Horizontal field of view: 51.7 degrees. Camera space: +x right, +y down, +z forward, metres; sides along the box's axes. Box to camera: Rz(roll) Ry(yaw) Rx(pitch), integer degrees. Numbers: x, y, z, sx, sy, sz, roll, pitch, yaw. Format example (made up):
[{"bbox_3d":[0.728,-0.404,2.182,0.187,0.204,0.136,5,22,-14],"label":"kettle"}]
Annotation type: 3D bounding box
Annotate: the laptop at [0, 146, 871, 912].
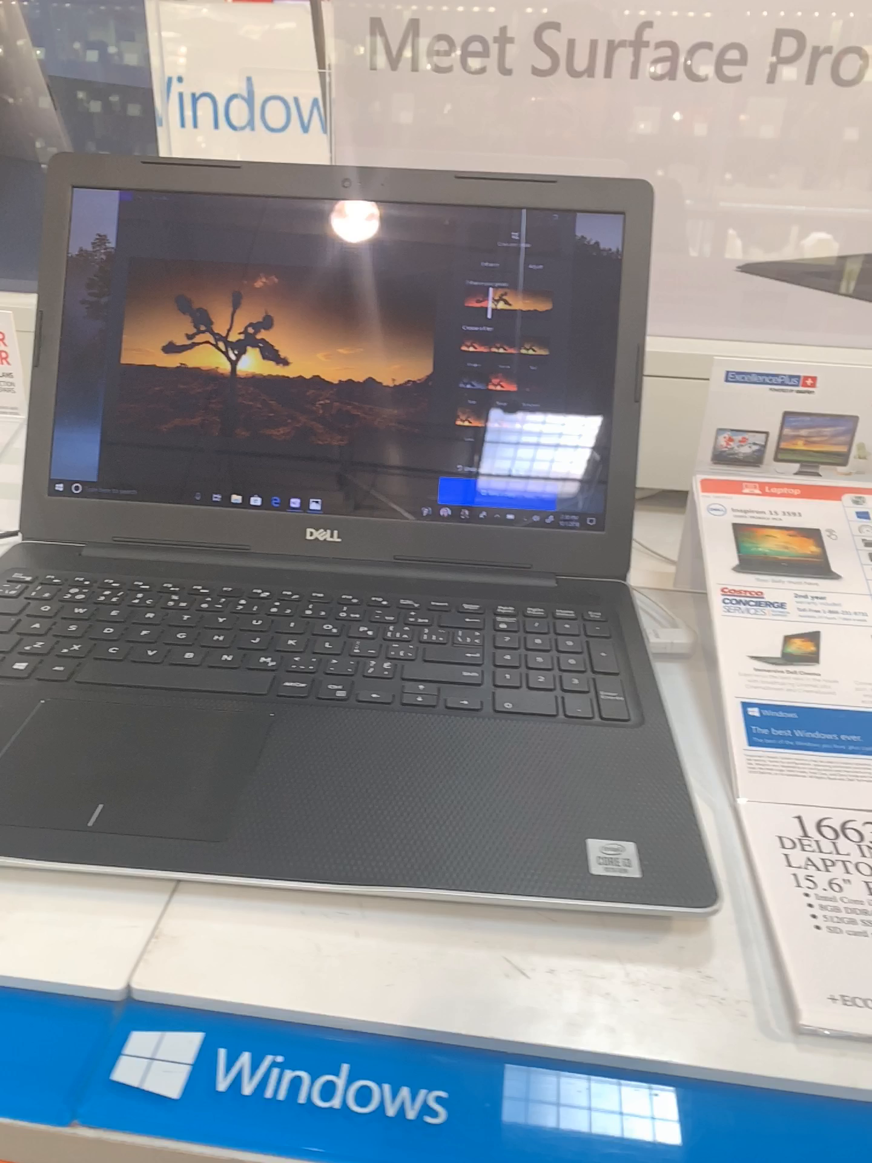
[{"bbox_3d":[-0.065,-0.072,0.411,0.357,0.205,0.343,4,26,1],"label":"laptop"}]
